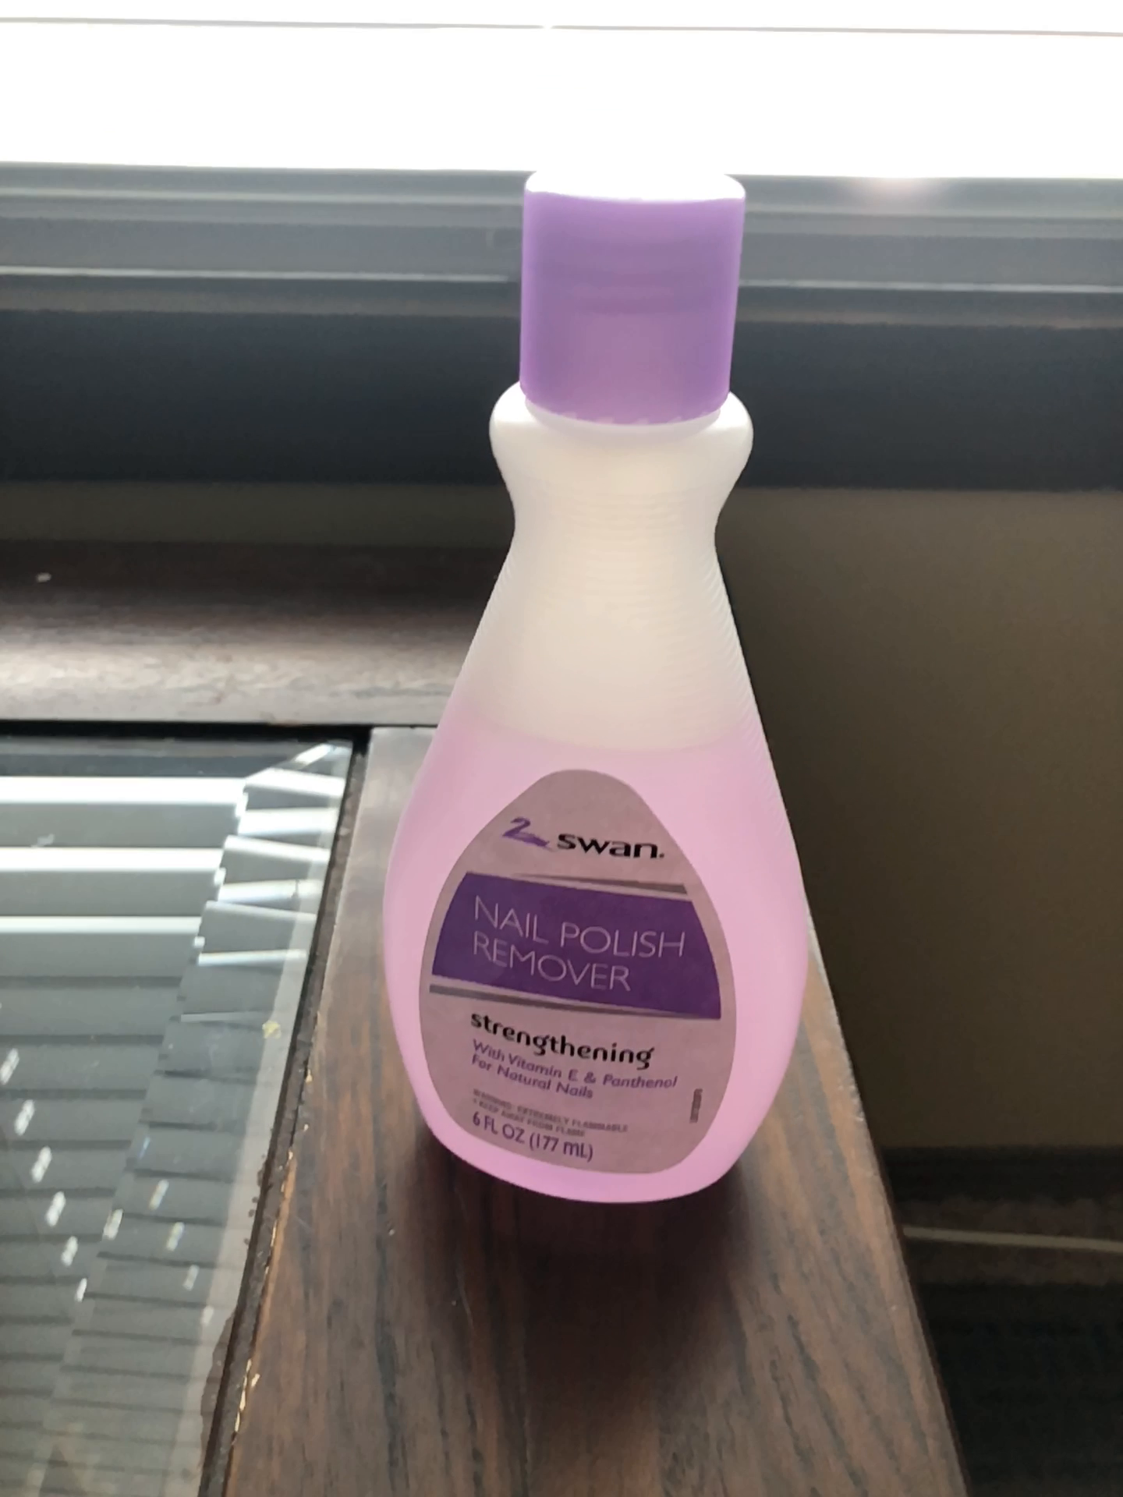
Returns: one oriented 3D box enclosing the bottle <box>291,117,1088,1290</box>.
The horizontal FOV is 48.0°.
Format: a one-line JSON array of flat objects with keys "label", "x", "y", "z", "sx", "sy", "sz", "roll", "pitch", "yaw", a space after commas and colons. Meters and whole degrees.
[{"label": "bottle", "x": 0.015, "y": 0.003, "z": 0.194, "sx": 0.080, "sy": 0.170, "sz": 0.050, "roll": 8, "pitch": 35, "yaw": 10}]
